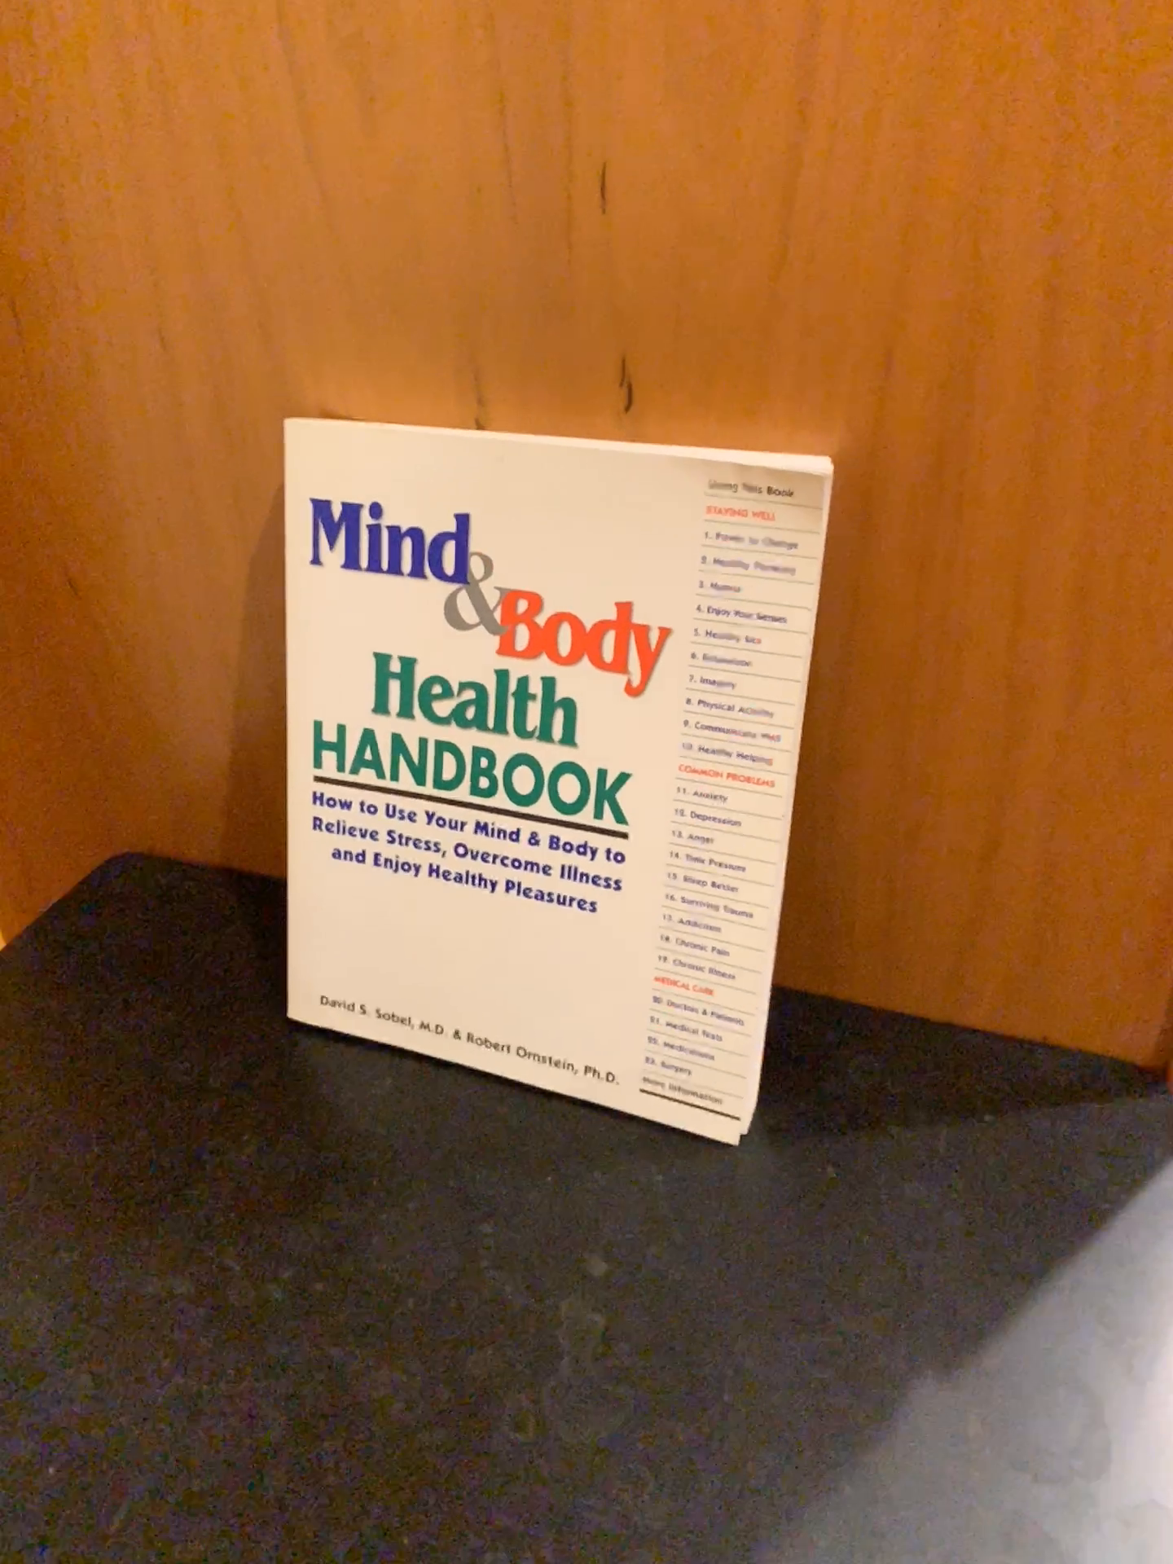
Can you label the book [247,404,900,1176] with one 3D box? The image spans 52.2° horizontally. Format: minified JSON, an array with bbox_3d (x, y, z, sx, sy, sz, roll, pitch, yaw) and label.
[{"bbox_3d":[-0.017,-0.003,0.416,0.210,0.229,0.040,11,17,19],"label":"book"}]
